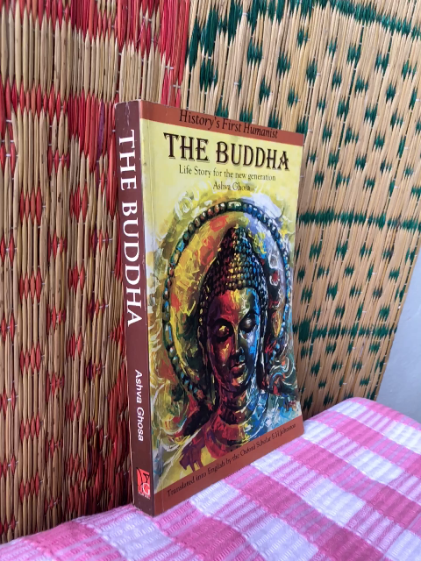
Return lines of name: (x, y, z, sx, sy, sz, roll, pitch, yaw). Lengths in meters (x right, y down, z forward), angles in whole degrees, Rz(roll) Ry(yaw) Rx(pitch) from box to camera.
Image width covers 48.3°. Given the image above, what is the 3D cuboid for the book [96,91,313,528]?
book: (0.008, 0.010, 0.282, 0.030, 0.206, 0.146, 4, 8, 44)
